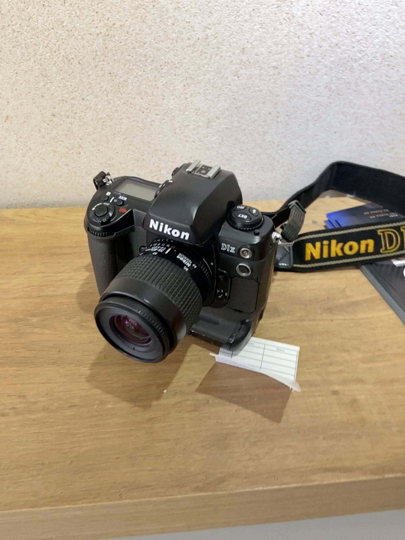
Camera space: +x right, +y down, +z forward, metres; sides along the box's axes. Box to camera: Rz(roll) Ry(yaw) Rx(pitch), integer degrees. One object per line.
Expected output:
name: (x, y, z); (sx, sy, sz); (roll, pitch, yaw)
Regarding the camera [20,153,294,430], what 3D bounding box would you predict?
camera: (-0.023, 0.008, 0.359); (0.150, 0.129, 0.161); (16, 45, 16)
